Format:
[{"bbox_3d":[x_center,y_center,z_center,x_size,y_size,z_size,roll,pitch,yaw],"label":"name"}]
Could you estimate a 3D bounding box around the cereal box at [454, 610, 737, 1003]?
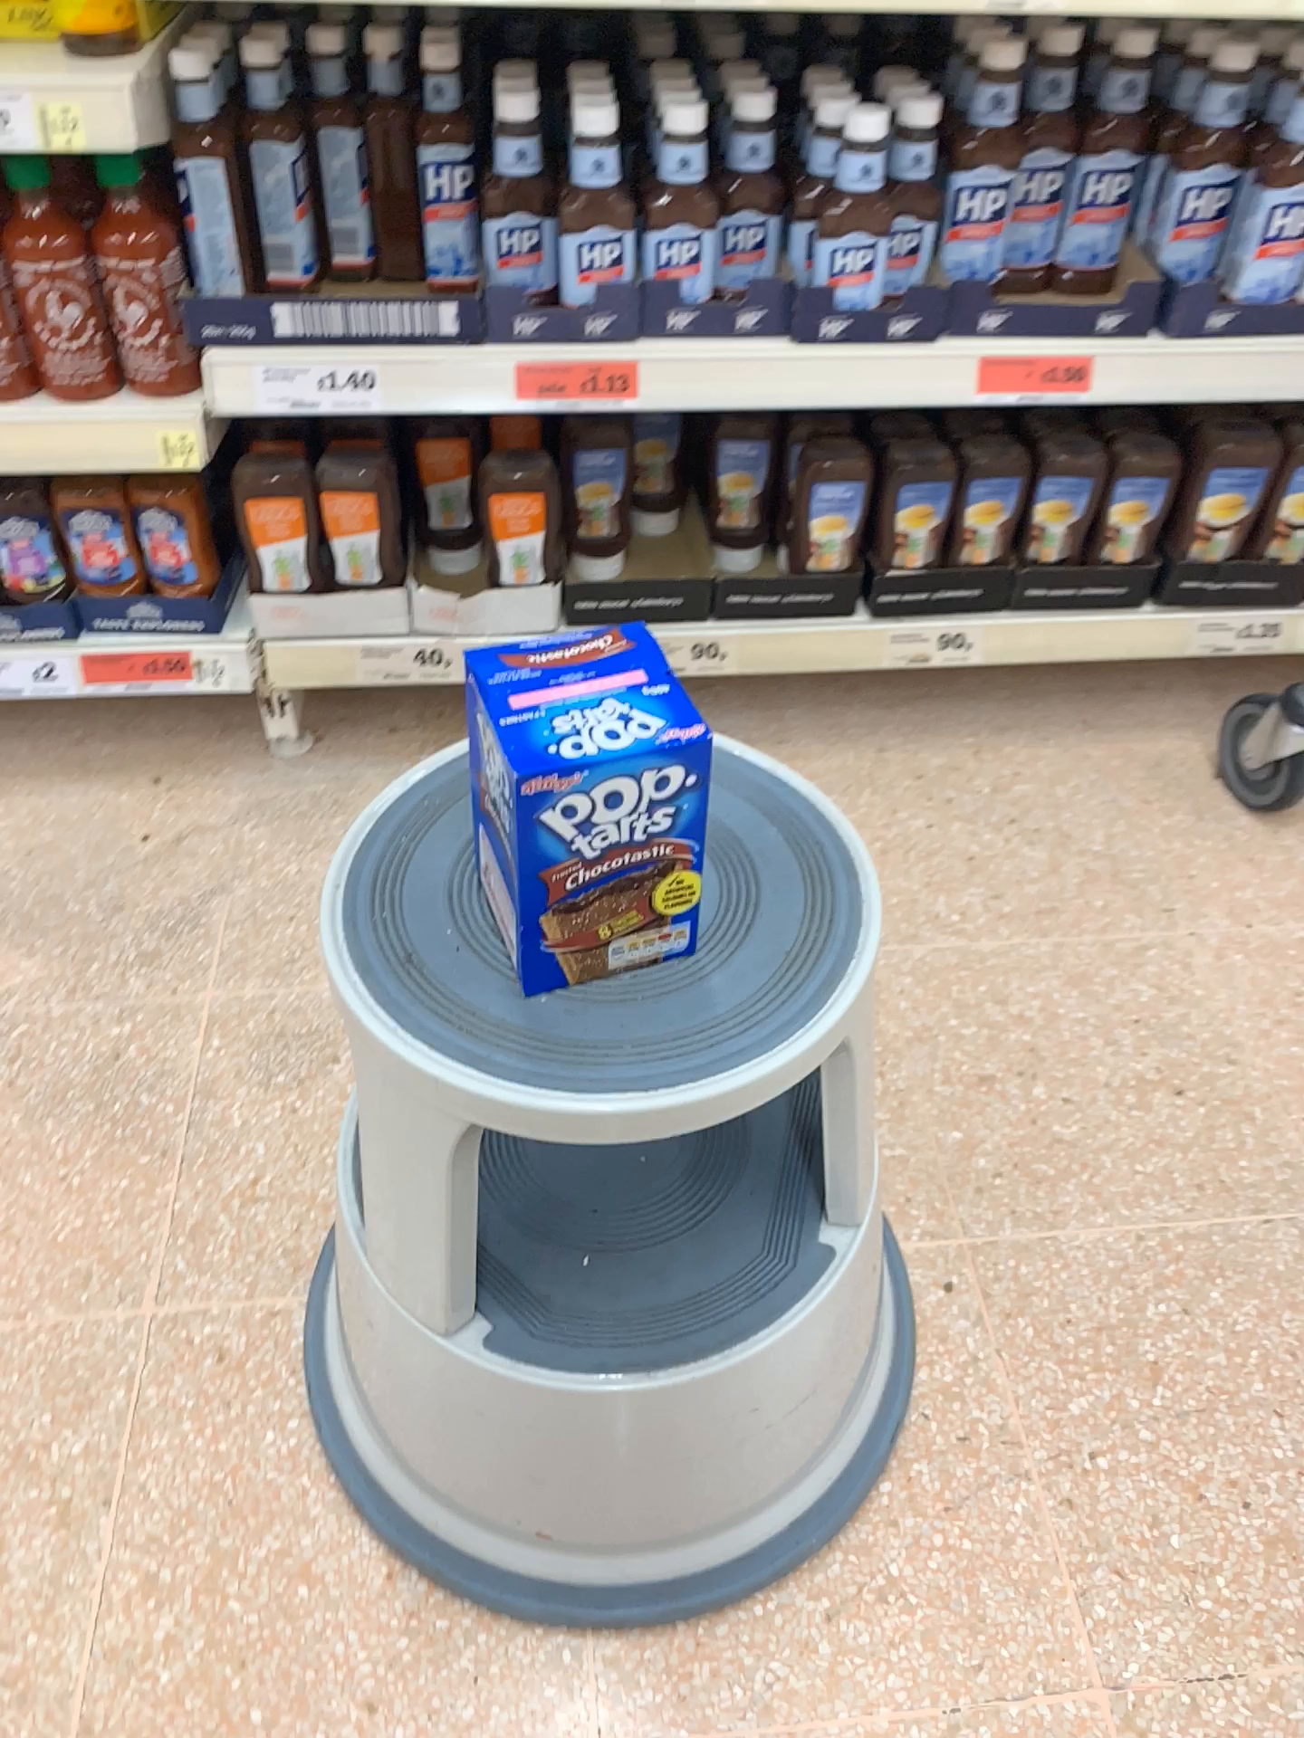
[{"bbox_3d":[-0.031,-0.031,0.662,0.100,0.139,0.111,-13,47,-16],"label":"cereal box"}]
